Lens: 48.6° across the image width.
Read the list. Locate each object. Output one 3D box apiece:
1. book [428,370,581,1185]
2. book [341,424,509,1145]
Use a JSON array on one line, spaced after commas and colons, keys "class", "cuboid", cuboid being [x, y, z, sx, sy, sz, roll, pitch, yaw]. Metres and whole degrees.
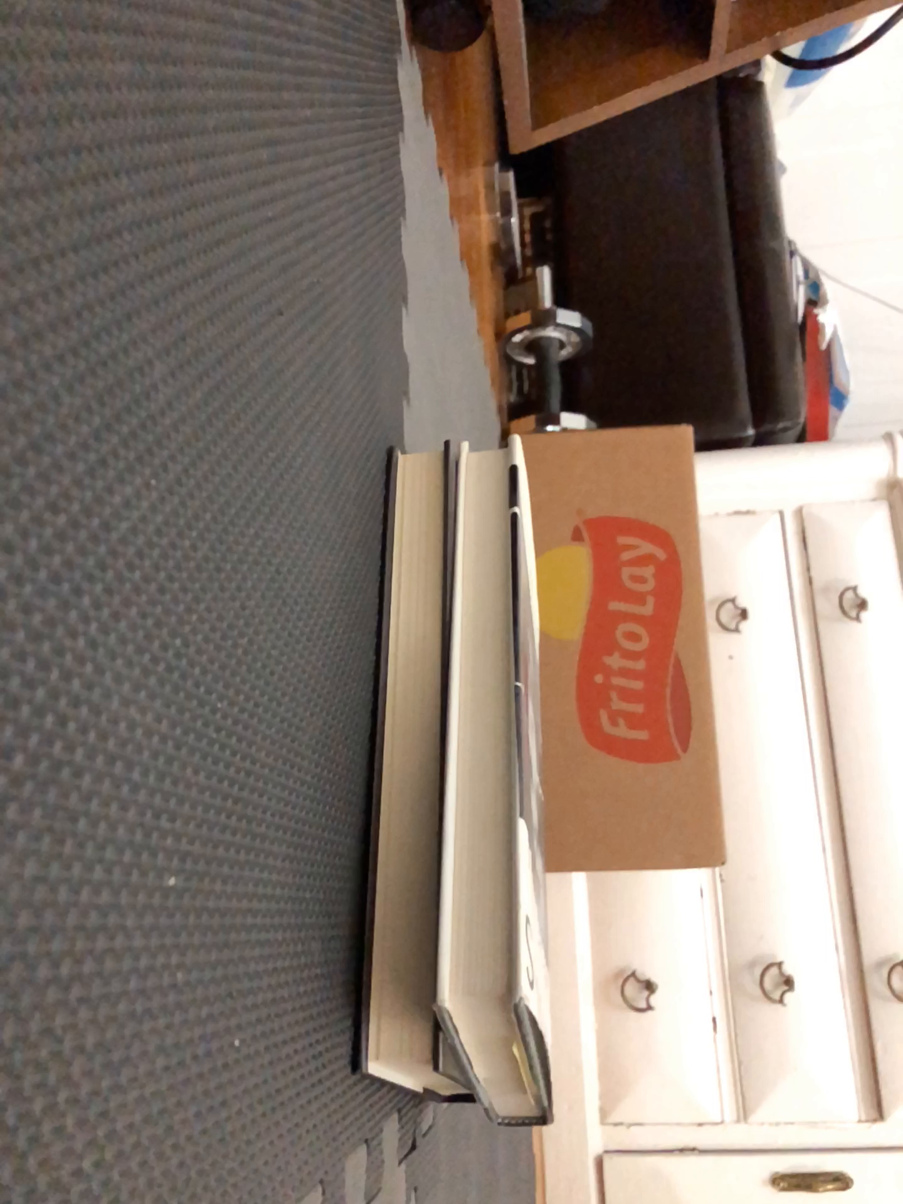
[{"class": "book", "cuboid": [0.026, 0.066, 0.415, 0.180, 0.030, 0.281, 76, 12, -51]}, {"class": "book", "cuboid": [-0.004, 0.078, 0.408, 0.160, 0.030, 0.250, 71, 16, -61]}]
